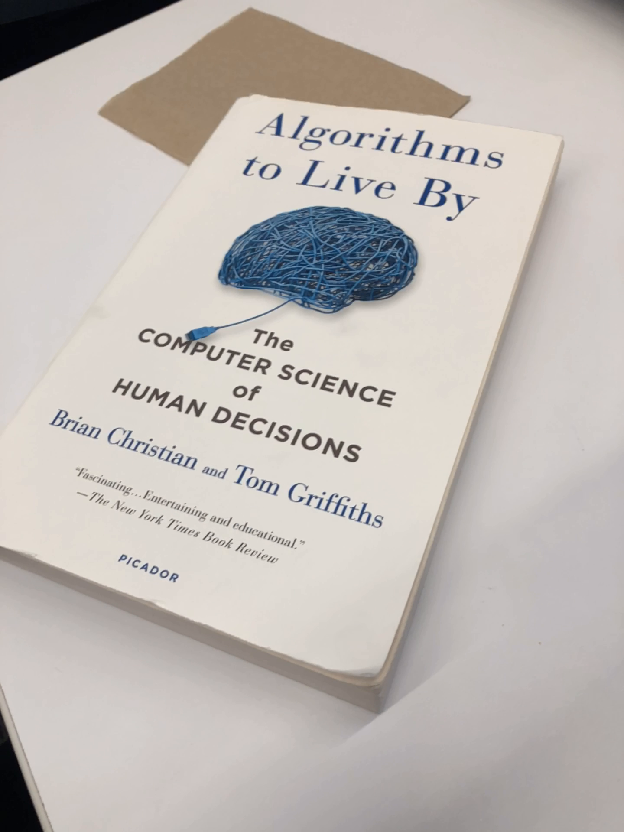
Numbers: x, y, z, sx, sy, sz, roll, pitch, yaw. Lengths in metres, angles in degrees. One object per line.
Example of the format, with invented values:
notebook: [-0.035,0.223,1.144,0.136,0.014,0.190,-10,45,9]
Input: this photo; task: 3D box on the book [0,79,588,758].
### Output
book: [-0.011,-0.028,0.246,0.160,0.040,0.220,15,60,18]
